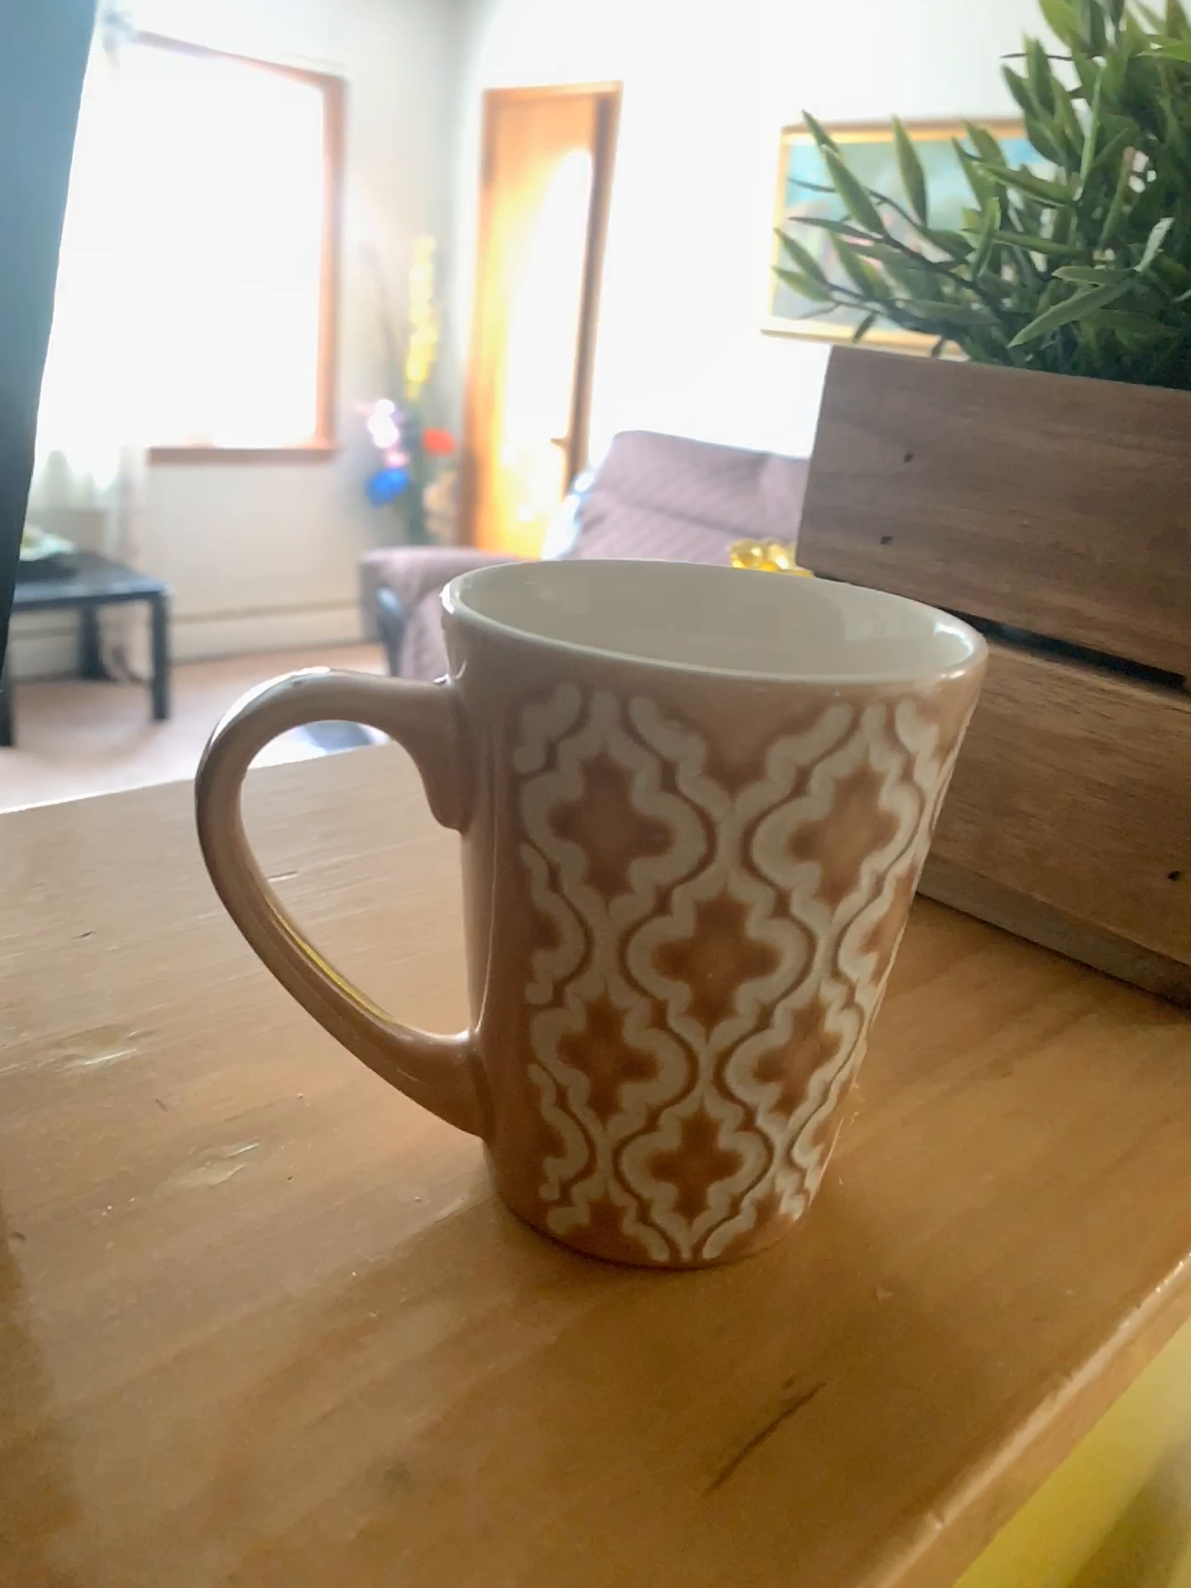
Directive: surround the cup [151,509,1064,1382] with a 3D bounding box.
[{"bbox_3d":[-0.009,0.017,0.217,0.120,0.109,0.090,0,21,-15],"label":"cup"}]
